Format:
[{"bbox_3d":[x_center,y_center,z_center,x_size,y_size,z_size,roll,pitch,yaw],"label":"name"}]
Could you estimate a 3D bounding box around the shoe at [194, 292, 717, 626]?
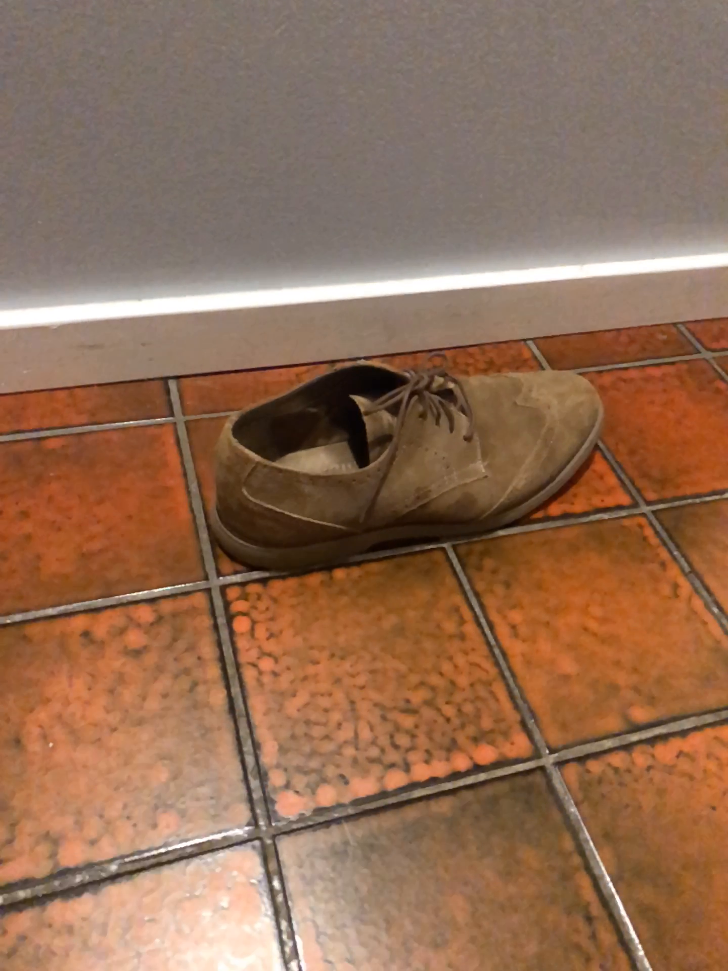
[{"bbox_3d":[0.056,-0.028,0.523,0.300,0.100,0.120,-14,51,-21],"label":"shoe"}]
